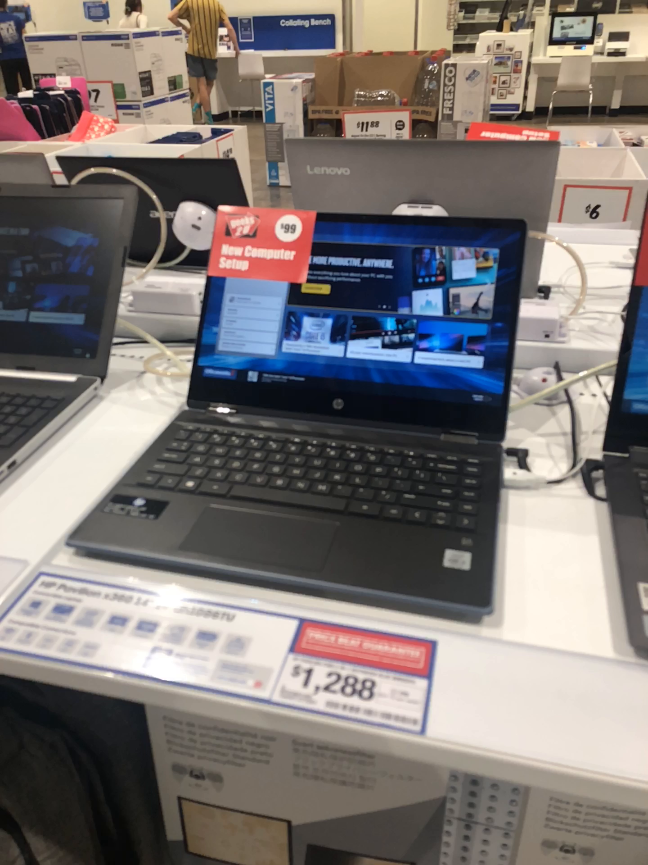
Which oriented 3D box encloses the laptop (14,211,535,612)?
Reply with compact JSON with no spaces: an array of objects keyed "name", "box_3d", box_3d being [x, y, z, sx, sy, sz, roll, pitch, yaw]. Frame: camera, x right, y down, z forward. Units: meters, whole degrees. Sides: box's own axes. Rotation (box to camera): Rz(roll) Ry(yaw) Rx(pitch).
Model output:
[{"name":"laptop","box_3d":[0.004,-0.058,0.599,0.315,0.165,0.350,7,31,13]}]
